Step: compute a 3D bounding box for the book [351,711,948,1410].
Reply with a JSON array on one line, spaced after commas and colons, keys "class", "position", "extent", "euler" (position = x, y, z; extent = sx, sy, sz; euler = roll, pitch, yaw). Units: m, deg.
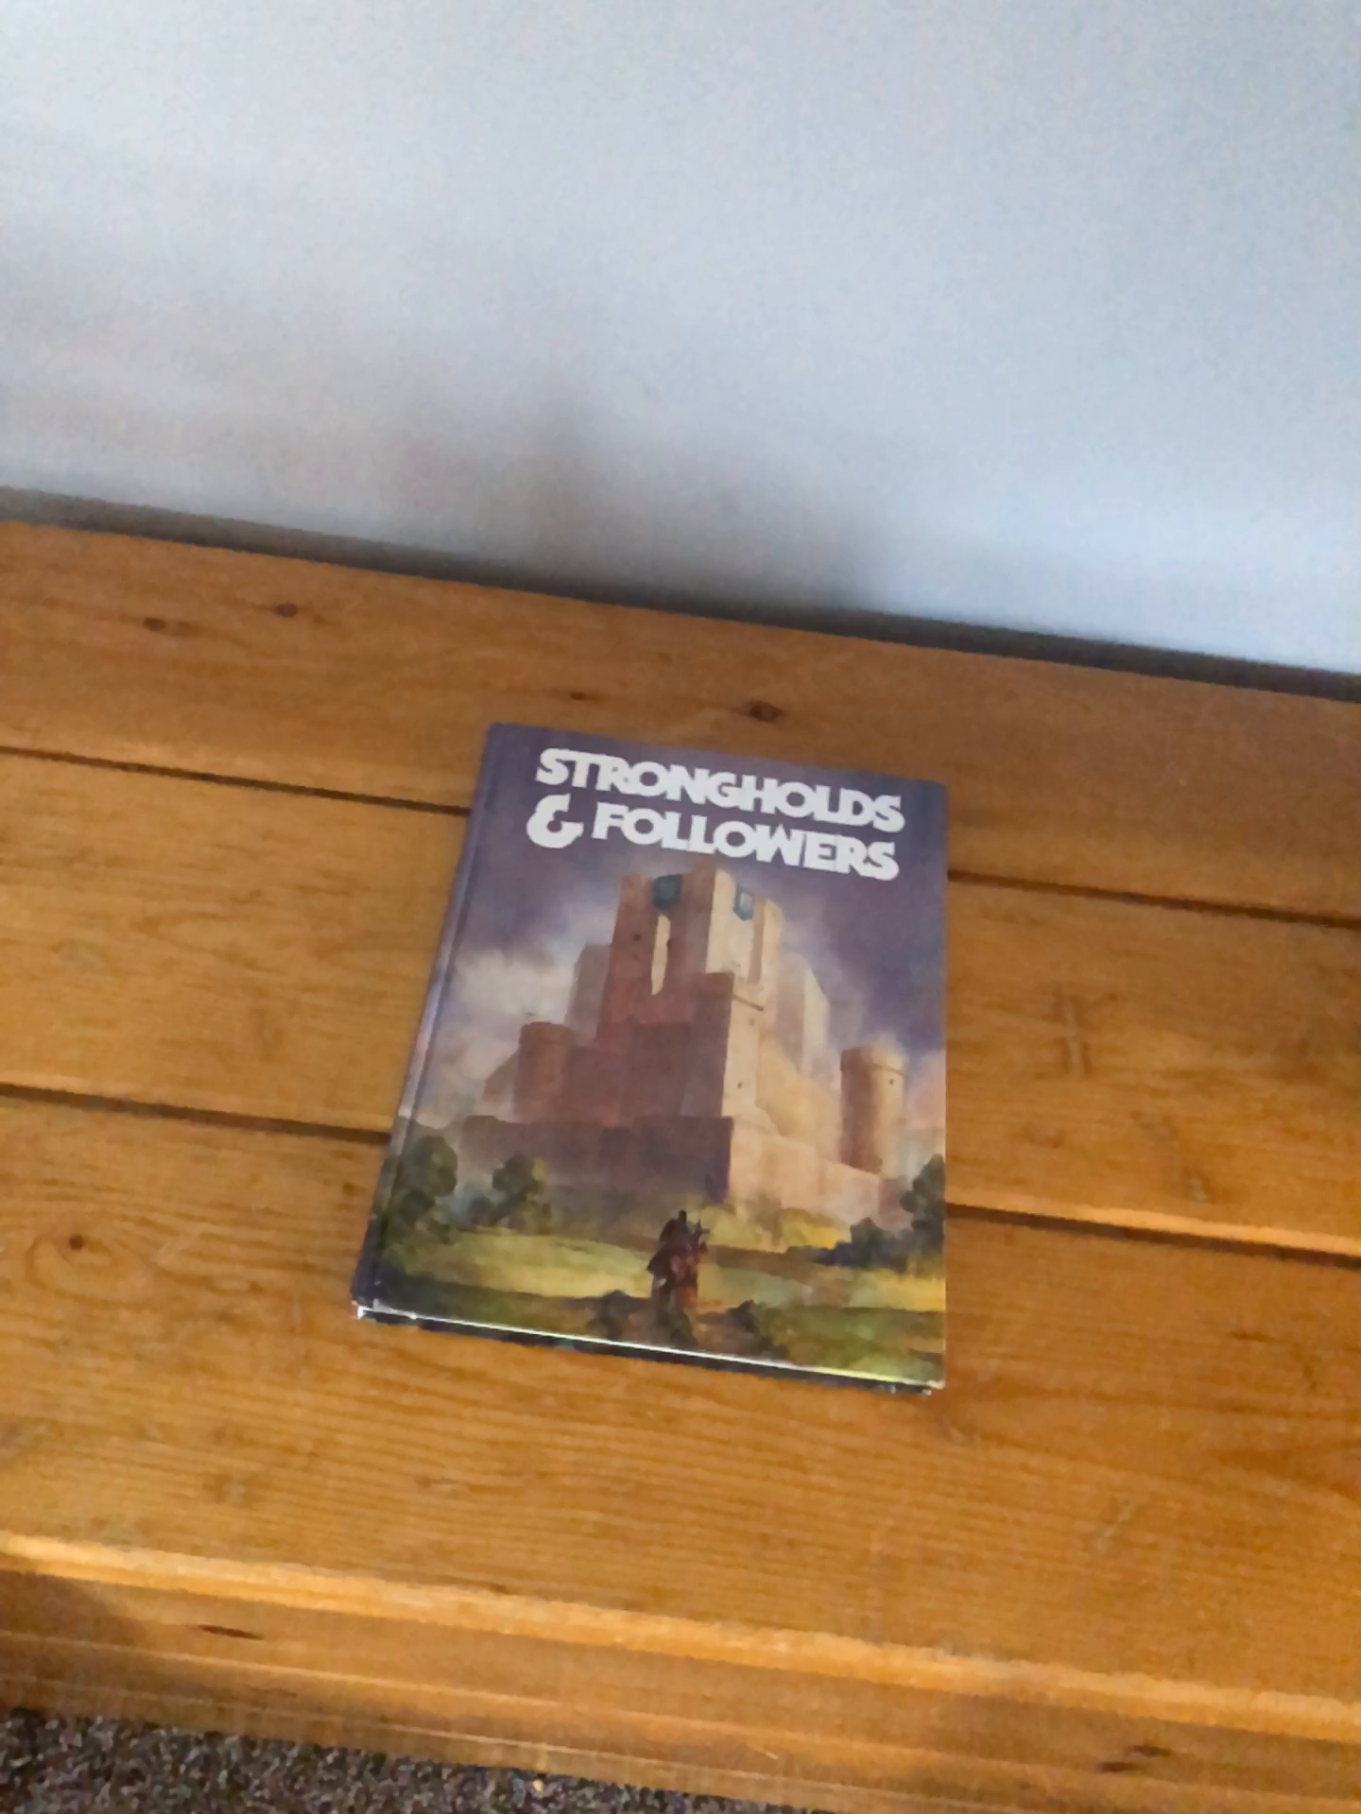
[{"class": "book", "position": [0.001, 0.051, 0.634], "extent": [0.212, 0.042, 0.281], "euler": [8, 56, 0]}]
